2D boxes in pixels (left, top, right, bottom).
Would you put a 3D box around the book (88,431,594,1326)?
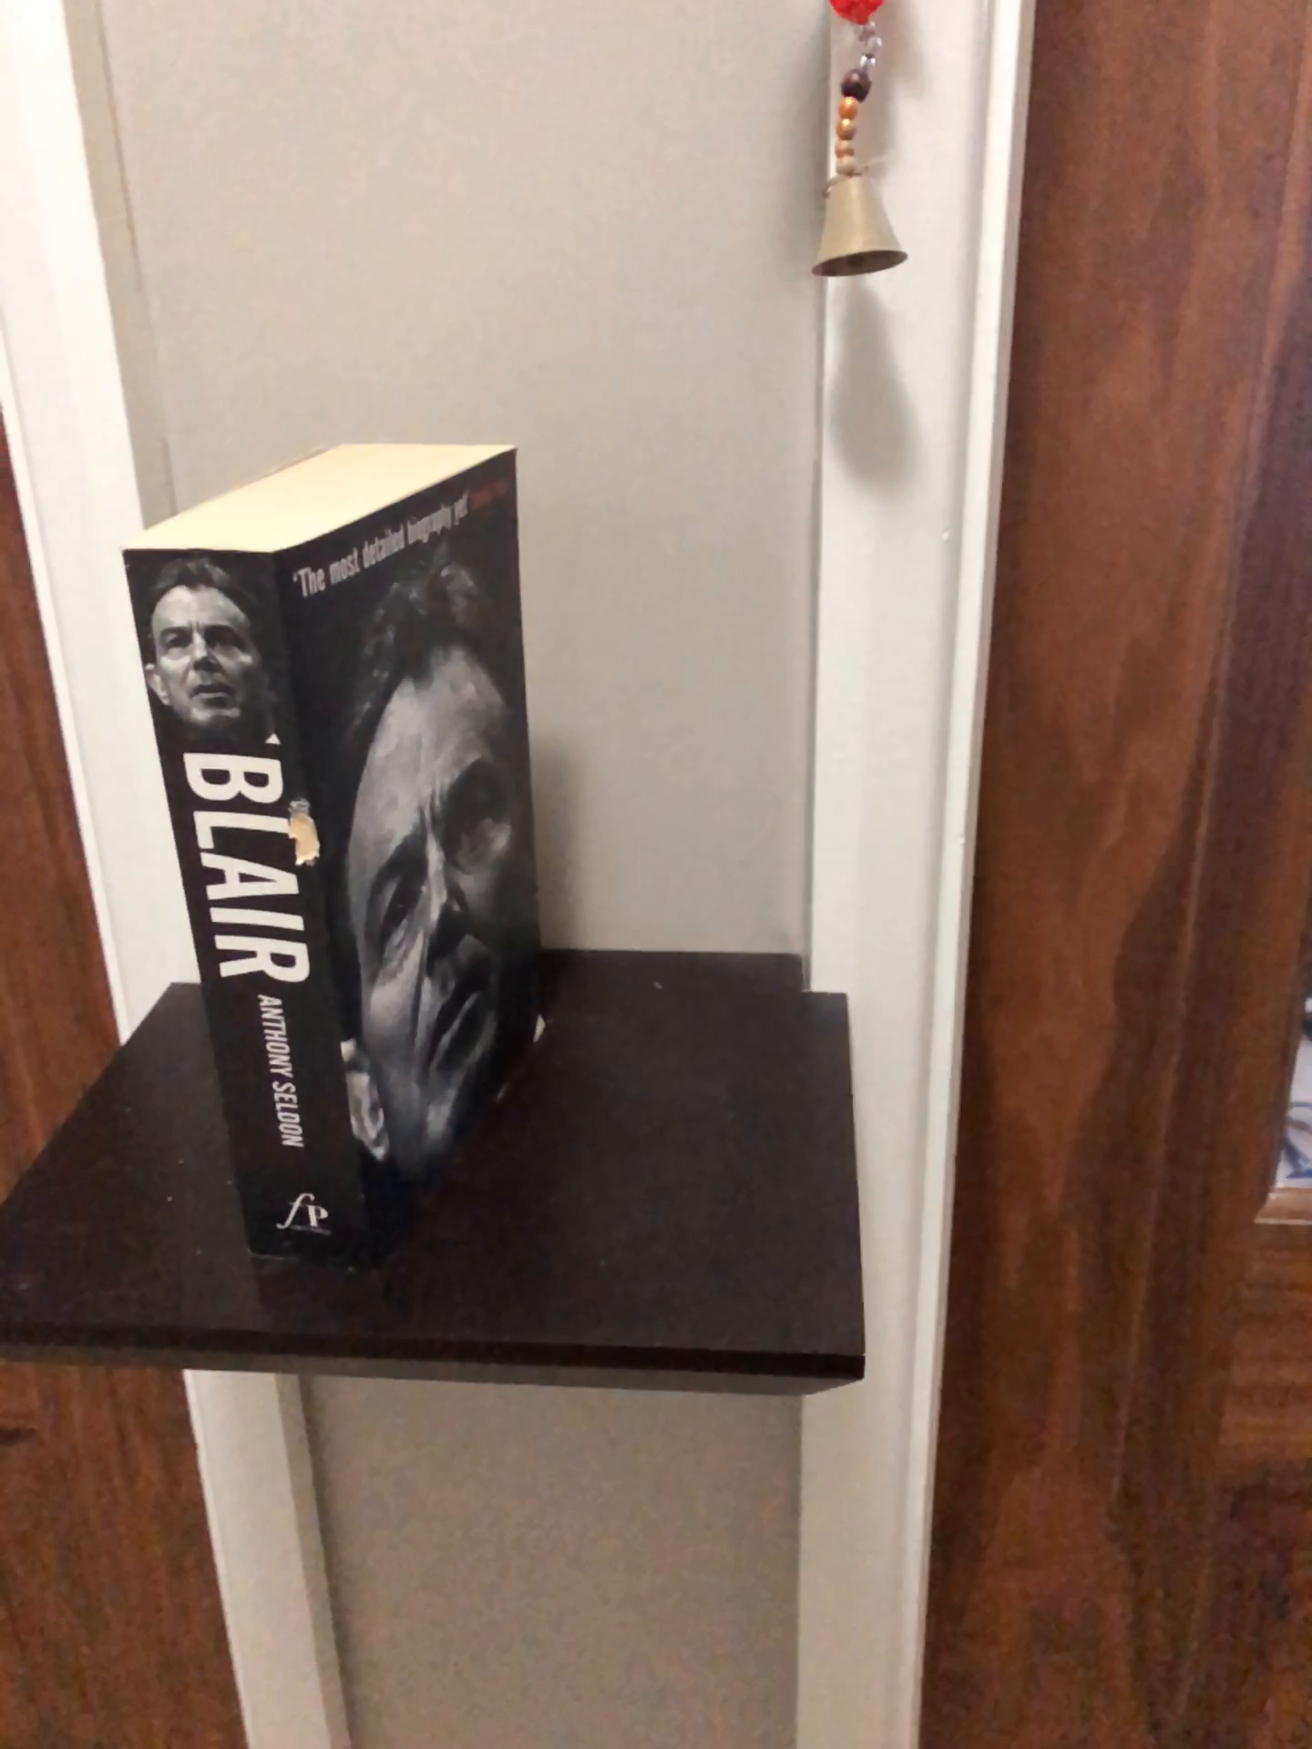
[{"bbox_3d":[-0.074,-0.012,0.428,0.060,0.209,0.171,4,23,12],"label":"book"}]
